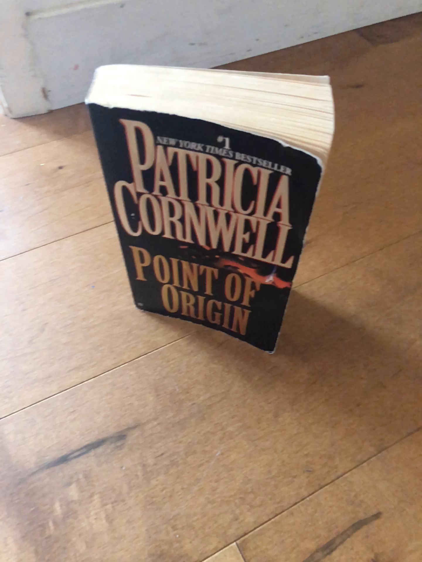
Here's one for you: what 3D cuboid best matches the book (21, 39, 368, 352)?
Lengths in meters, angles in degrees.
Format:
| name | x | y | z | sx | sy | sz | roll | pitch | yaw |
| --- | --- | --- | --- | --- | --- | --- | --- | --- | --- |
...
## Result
| name | x | y | z | sx | sy | sz | roll | pitch | yaw |
| --- | --- | --- | --- | --- | --- | --- | --- | --- | --- |
| book | -0.004 | -0.032 | 0.252 | 0.130 | 0.159 | 0.050 | 11 | 57 | 8 |
